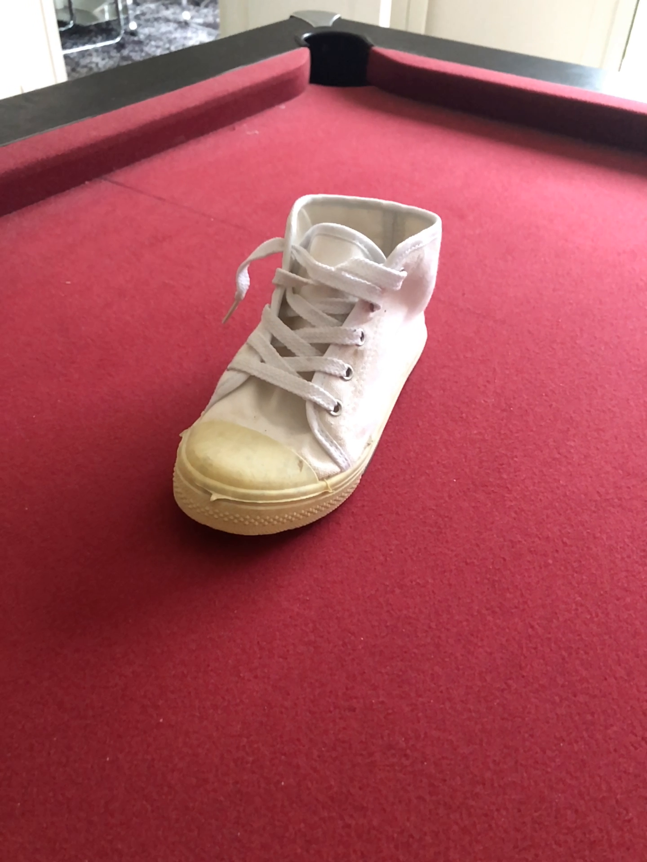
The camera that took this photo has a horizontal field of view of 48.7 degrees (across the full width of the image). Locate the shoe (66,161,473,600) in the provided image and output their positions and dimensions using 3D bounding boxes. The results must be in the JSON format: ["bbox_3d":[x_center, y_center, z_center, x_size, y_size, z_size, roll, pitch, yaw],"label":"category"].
[{"bbox_3d":[-0.007,-0.044,0.353,0.100,0.089,0.221,16,42,15],"label":"shoe"}]
